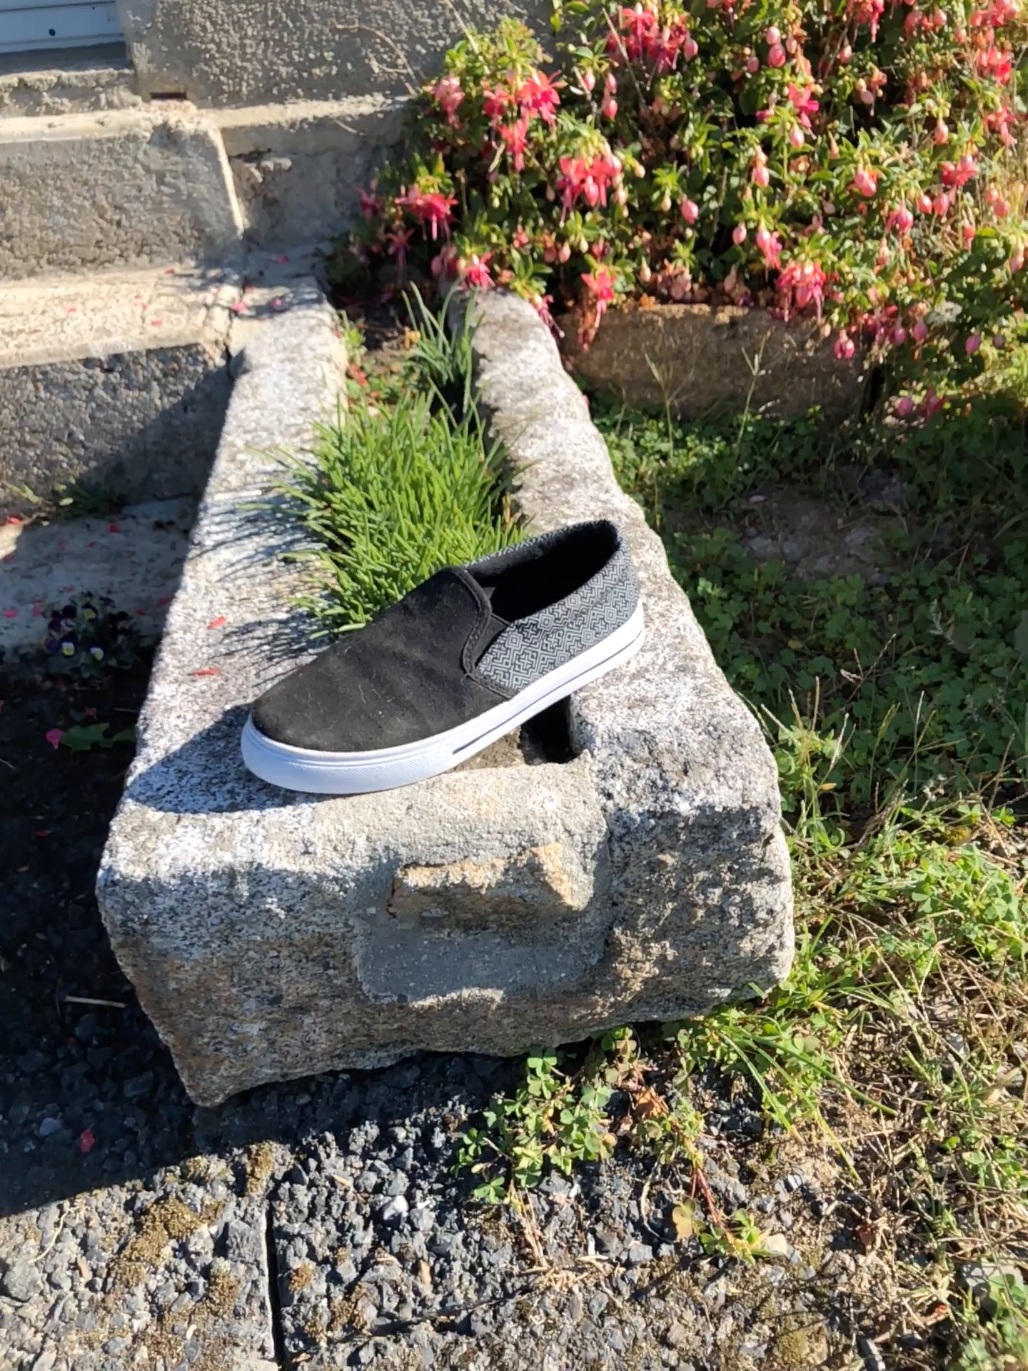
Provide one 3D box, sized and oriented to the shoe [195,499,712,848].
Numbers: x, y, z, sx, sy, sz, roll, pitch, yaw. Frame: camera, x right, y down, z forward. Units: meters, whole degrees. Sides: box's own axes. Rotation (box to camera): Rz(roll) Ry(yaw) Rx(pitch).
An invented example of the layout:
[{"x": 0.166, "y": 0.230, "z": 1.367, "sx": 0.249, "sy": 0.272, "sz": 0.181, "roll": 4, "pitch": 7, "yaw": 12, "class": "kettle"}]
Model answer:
[{"x": -0.027, "y": -0.017, "z": 0.627, "sx": 0.261, "sy": 0.080, "sz": 0.100, "roll": -20, "pitch": 36, "yaw": -22, "class": "shoe"}]
